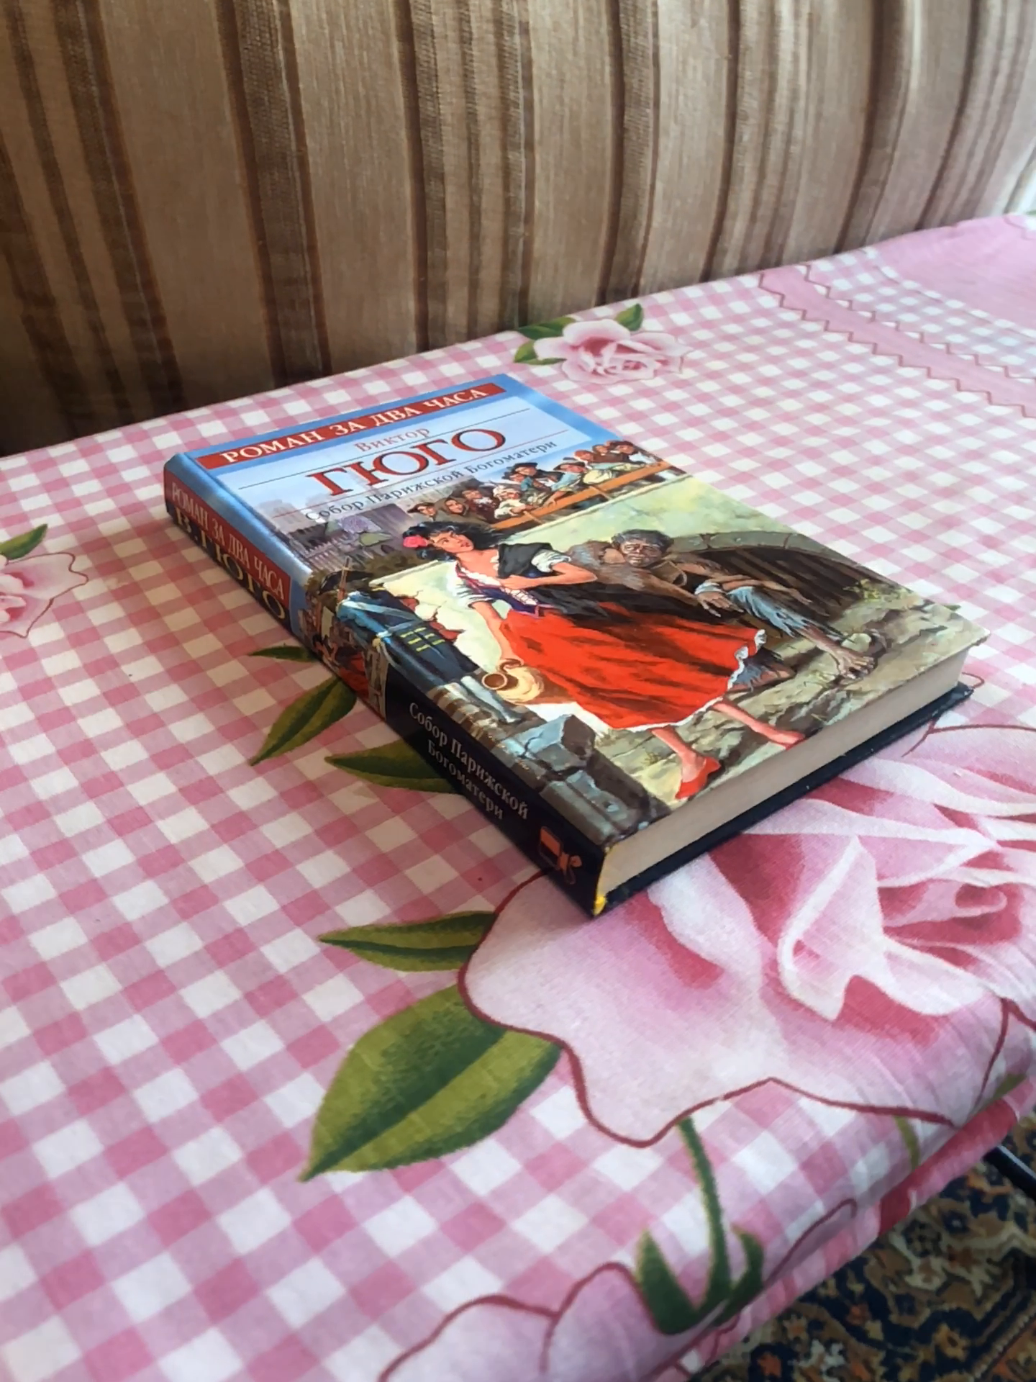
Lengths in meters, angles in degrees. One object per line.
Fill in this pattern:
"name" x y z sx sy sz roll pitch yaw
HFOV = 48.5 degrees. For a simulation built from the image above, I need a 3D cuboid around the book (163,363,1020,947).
"book" 0.009 -0.033 0.327 0.136 0.027 0.207 -24 44 -31
